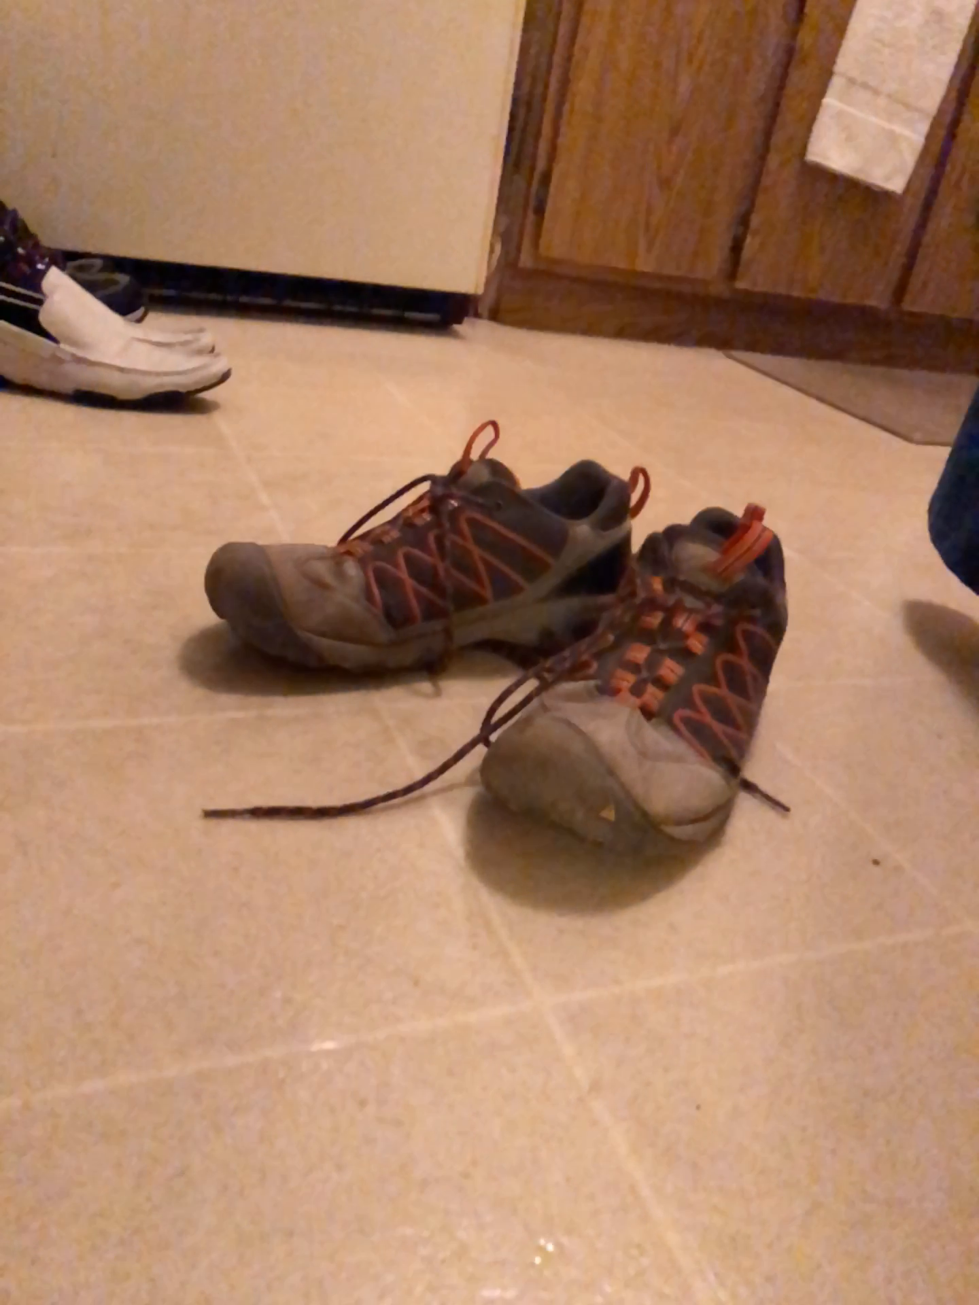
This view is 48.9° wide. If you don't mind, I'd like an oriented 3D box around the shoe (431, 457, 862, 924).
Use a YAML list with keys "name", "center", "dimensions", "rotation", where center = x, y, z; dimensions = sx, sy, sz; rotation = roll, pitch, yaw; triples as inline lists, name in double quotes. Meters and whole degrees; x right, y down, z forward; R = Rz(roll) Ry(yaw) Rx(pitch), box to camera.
- name: "shoe"
  center: [0.099, -0.004, 0.582]
  dimensions: [0.127, 0.121, 0.283]
  rotation: [20, 27, 19]

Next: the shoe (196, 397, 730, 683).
- name: "shoe"
  center: [-0.020, -0.075, 0.672]
  dimensions: [0.292, 0.121, 0.127]
  rotation: [-4, 29, -26]
